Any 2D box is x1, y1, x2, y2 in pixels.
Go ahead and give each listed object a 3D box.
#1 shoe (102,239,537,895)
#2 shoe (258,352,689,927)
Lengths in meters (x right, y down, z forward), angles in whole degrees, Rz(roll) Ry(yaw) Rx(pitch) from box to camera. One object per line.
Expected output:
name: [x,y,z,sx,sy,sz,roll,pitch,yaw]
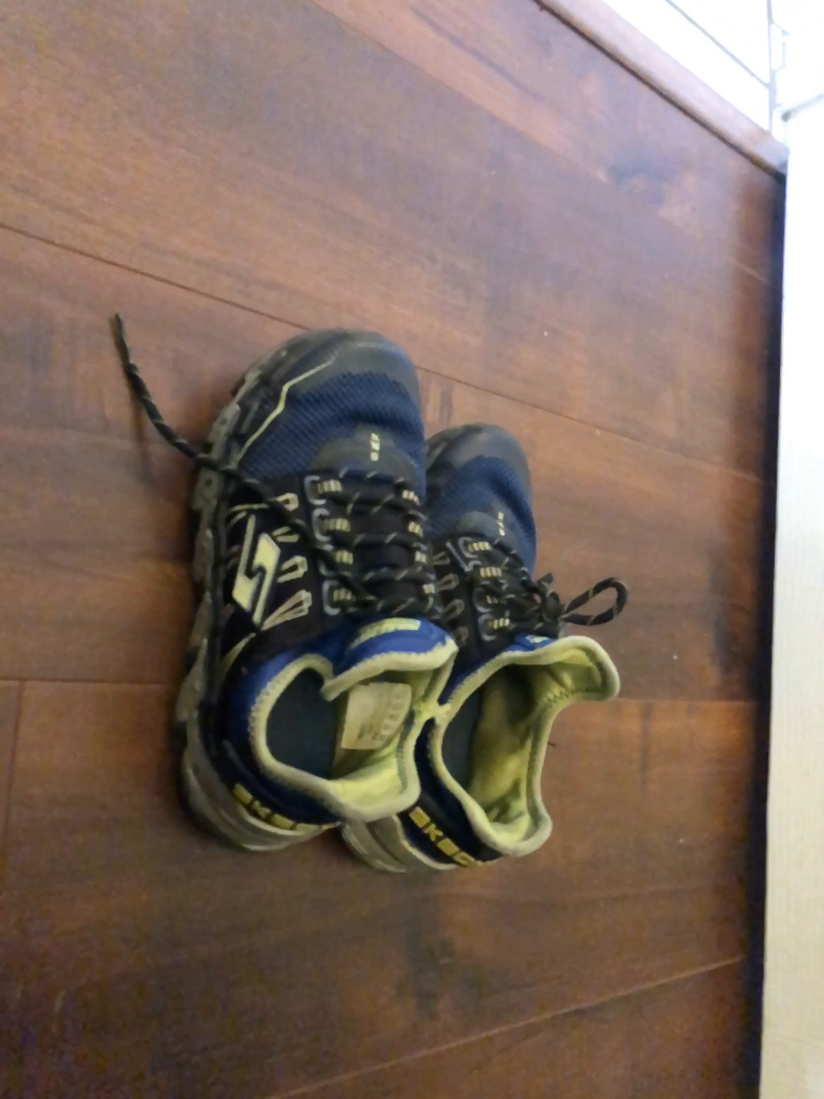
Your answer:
shoe: [-0.035,0.013,0.358,0.100,0.120,0.210,15,75,-38]
shoe: [0.032,0.041,0.408,0.100,0.120,0.210,27,68,-35]
